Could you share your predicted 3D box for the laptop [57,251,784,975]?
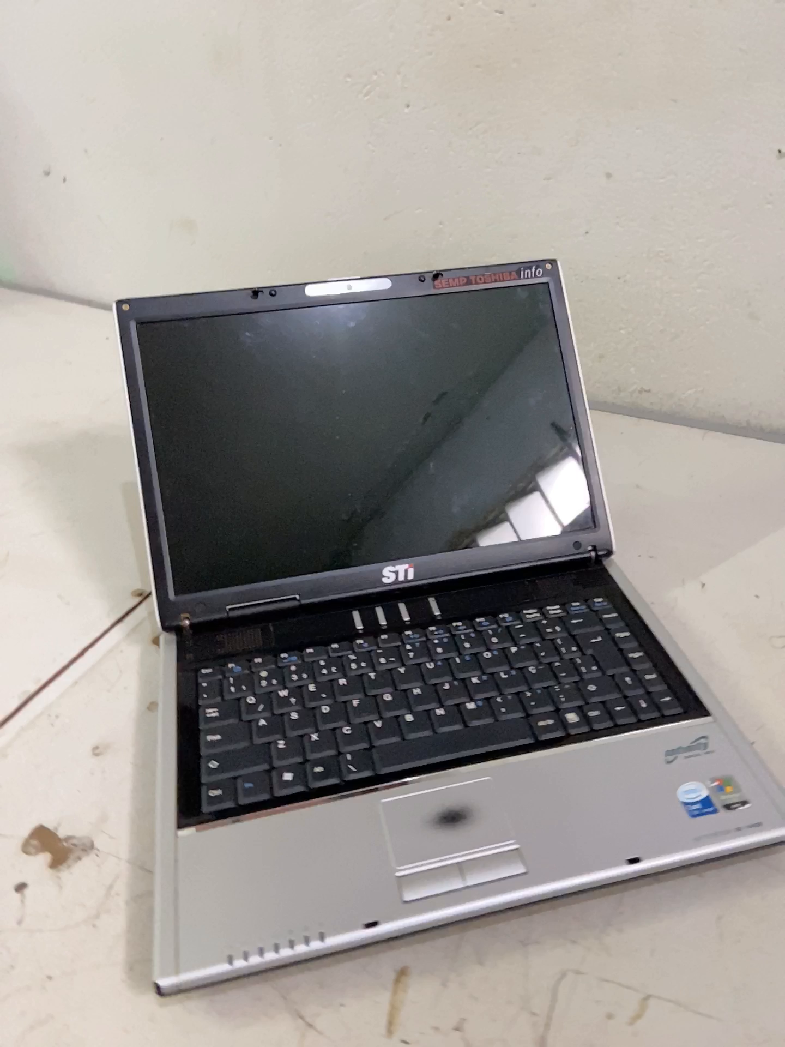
[{"bbox_3d":[0.006,-0.003,0.490,0.325,0.167,0.388,-9,38,-9],"label":"laptop"}]
